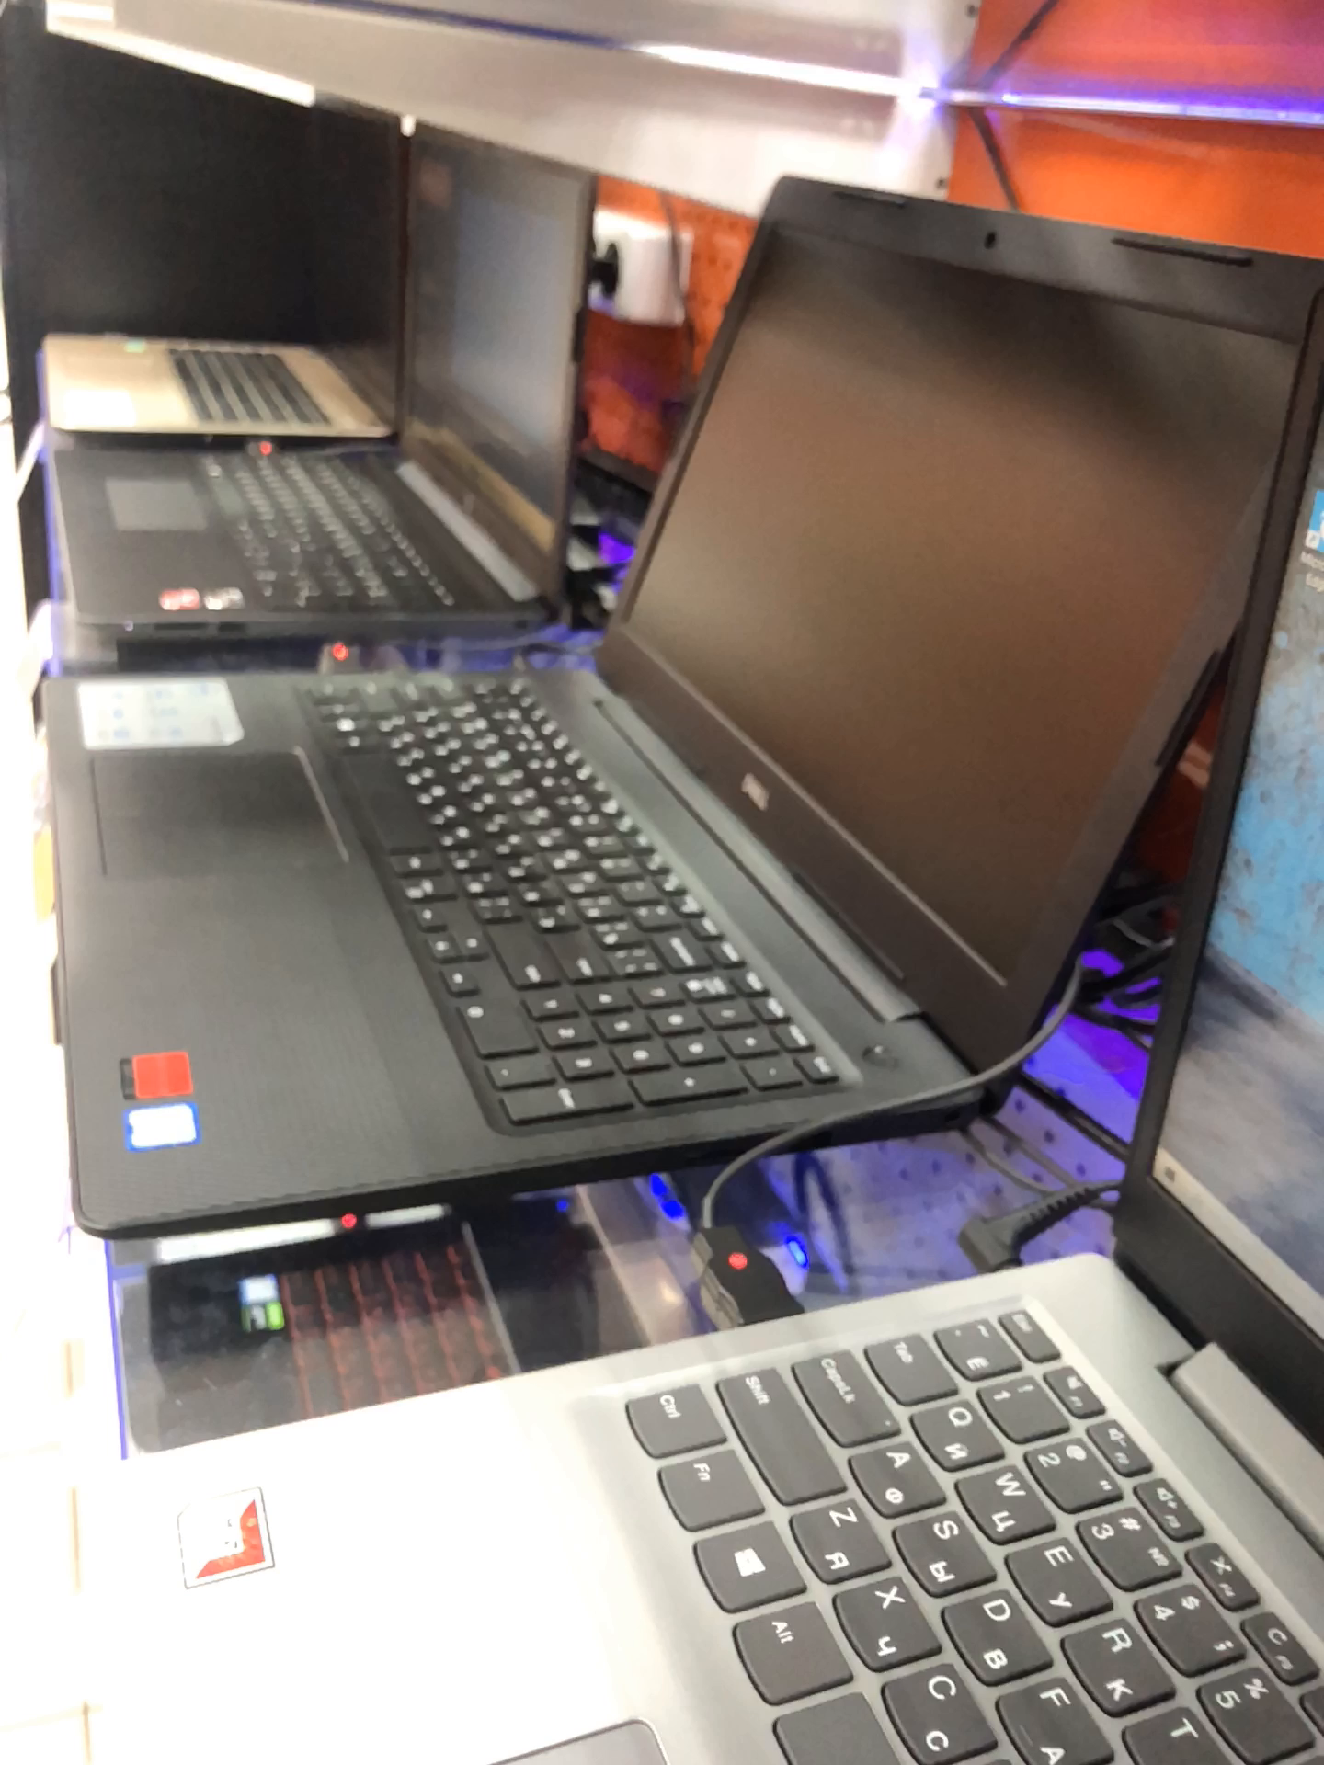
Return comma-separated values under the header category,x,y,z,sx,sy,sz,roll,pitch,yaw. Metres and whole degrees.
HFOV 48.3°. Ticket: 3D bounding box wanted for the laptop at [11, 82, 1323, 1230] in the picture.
category,x,y,z,sx,sy,sz,roll,pitch,yaw
laptop,-0.040,-0.119,0.504,0.316,0.233,0.375,-4,28,-22
